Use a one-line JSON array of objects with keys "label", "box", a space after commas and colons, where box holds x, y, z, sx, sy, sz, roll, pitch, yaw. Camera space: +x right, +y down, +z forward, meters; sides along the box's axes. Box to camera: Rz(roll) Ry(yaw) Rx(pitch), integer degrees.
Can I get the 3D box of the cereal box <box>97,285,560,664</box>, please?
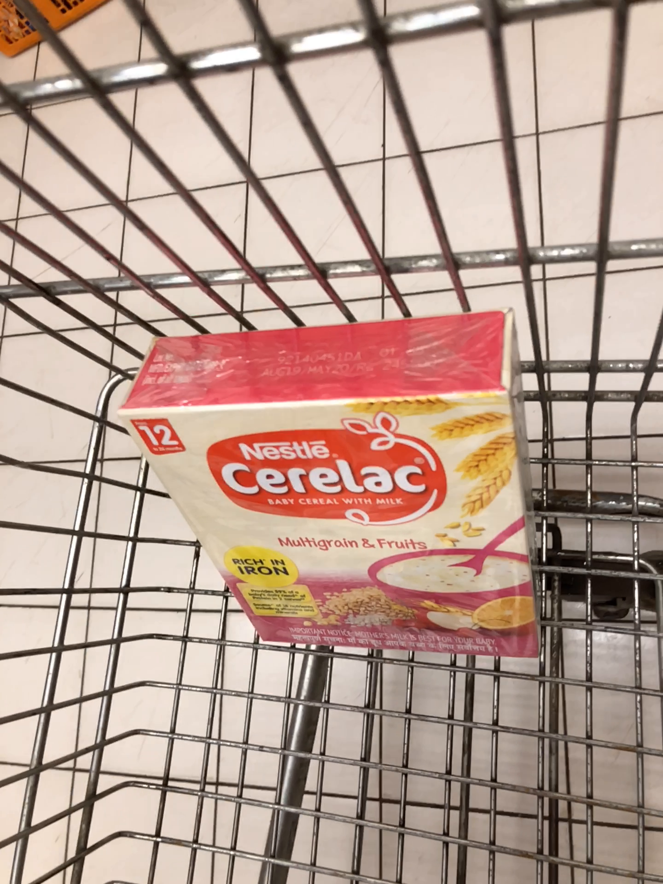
[{"label": "cereal box", "box": [0.017, 0.029, 0.330, 0.160, 0.189, 0.050, -1, 48, 18]}]
